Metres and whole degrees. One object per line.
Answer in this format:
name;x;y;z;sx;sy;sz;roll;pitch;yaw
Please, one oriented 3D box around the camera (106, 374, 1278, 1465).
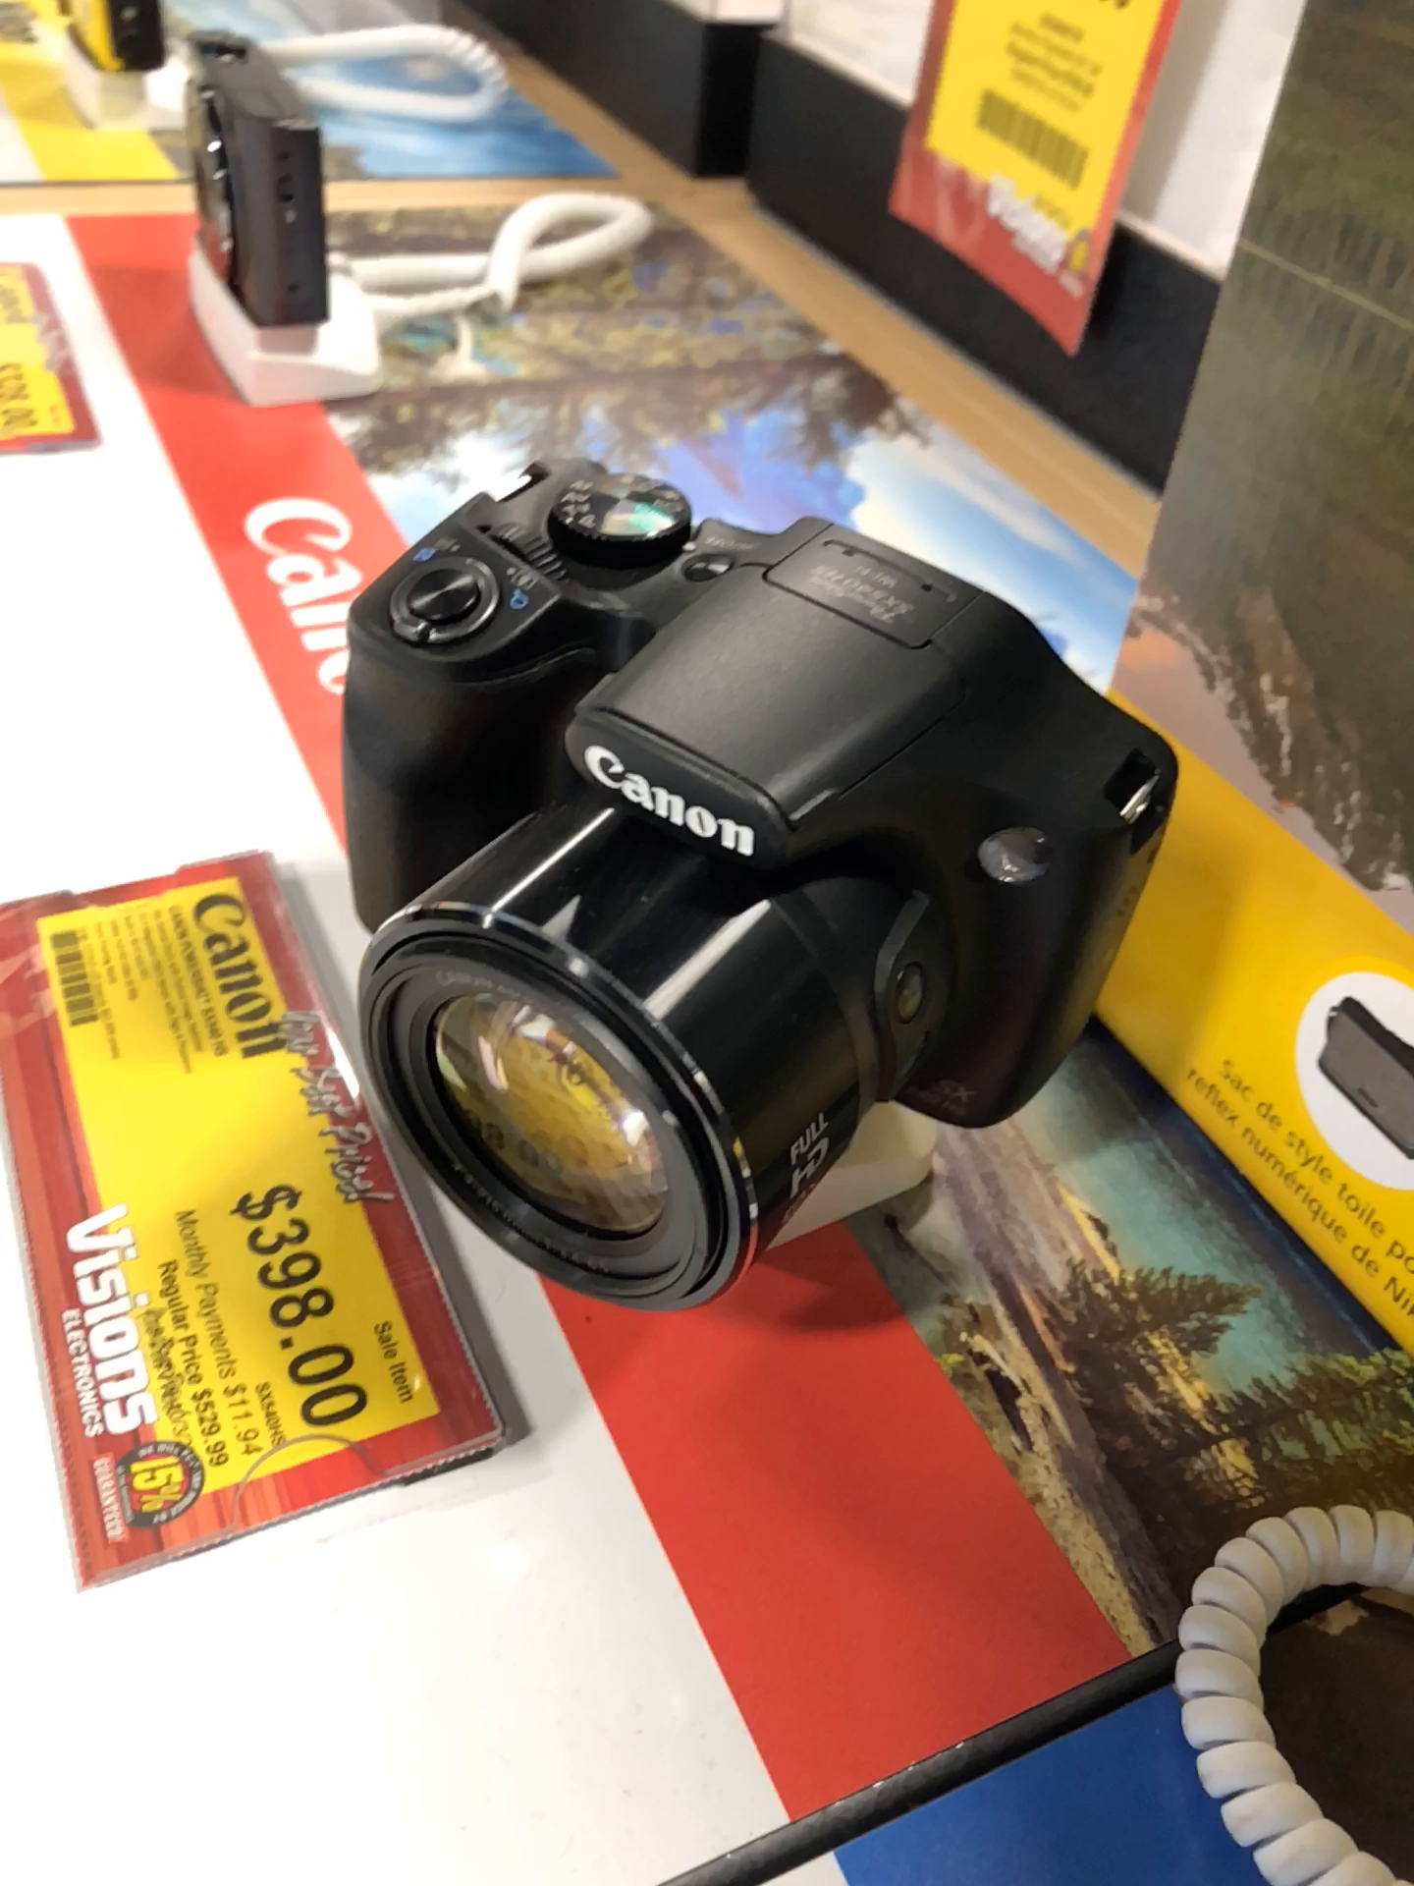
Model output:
camera;-0.004;-0.013;0.226;0.120;0.079;0.090;30;45;25
